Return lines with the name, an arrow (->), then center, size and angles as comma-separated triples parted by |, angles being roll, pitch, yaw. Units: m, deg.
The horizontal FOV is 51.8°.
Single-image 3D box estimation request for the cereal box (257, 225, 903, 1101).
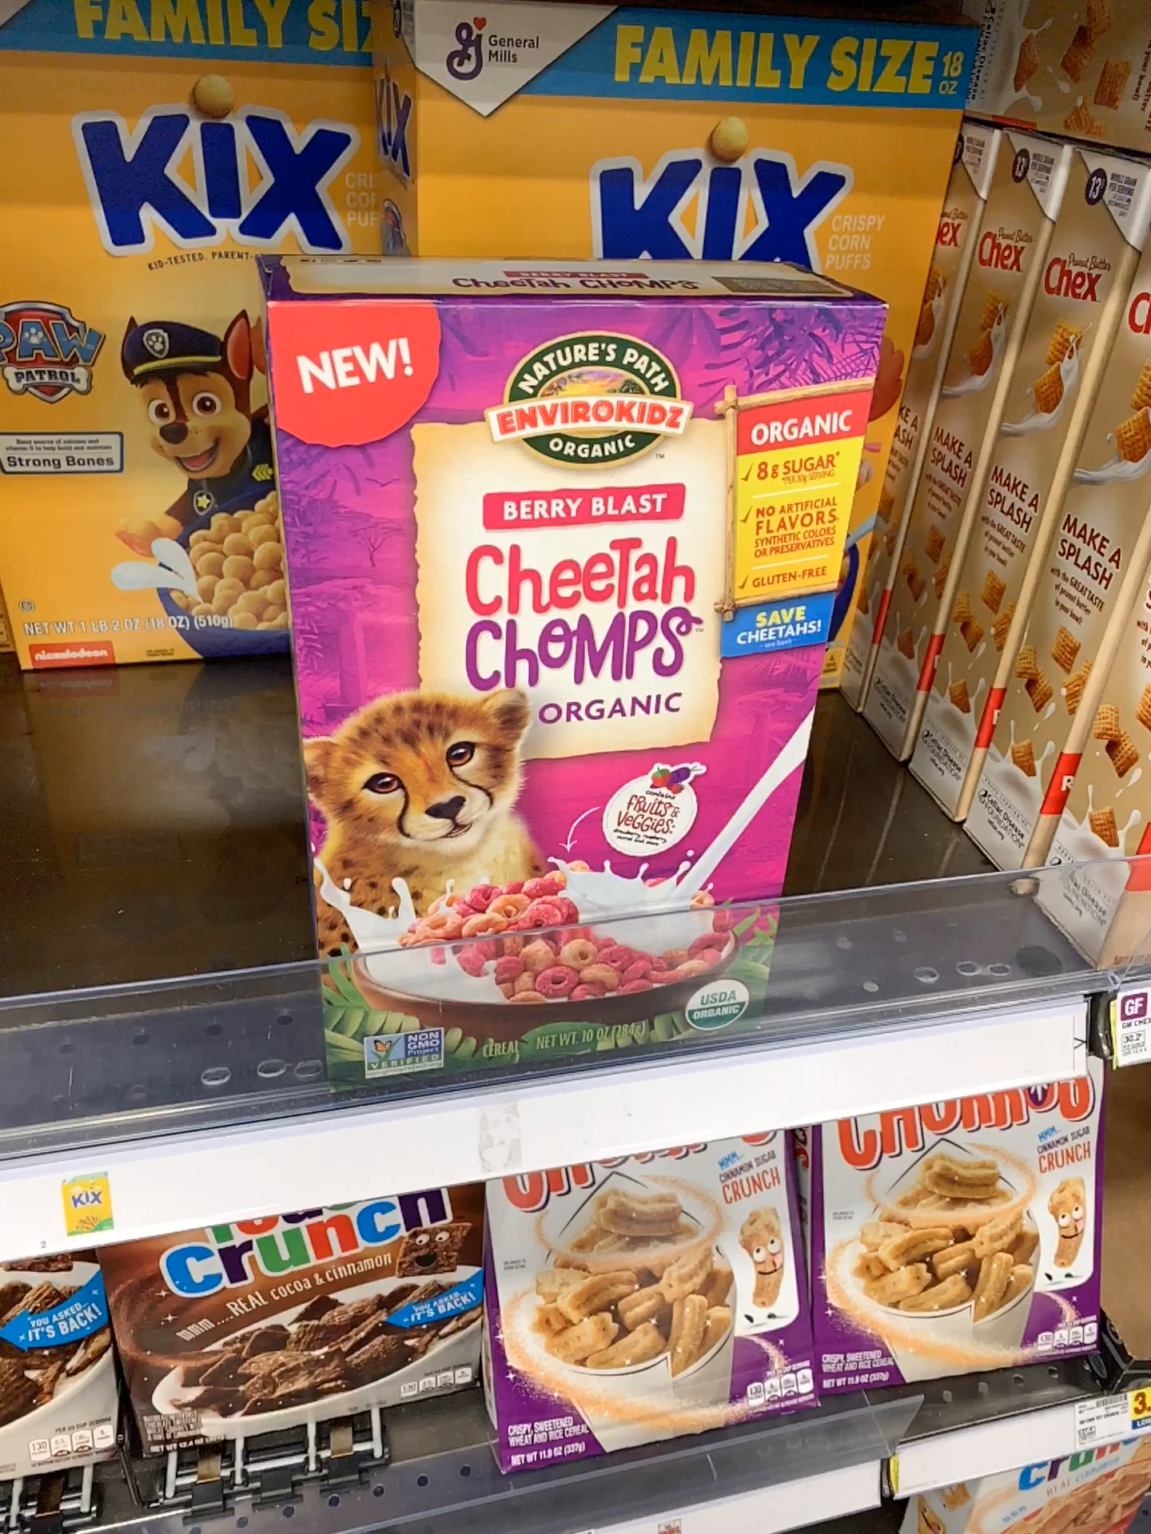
cereal box -> -0.007, -0.022, 0.381 | 0.160, 0.269, 0.060 | -5, 32, -13
